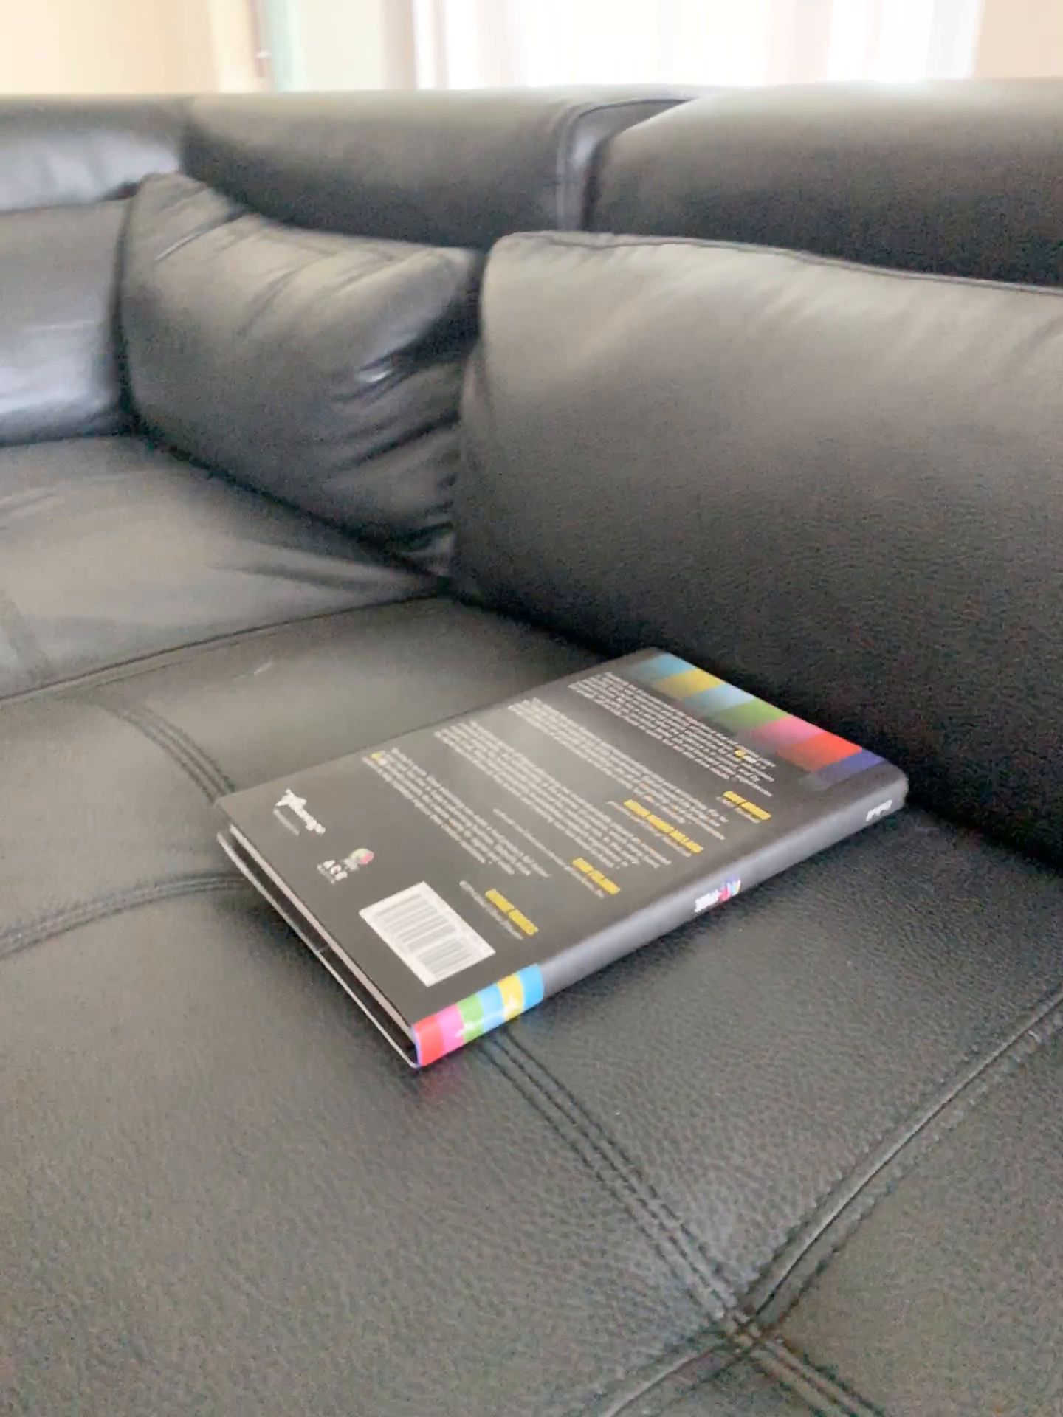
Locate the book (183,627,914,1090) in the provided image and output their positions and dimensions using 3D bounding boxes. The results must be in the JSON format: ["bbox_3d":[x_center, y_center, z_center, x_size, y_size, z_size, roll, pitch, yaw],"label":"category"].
[{"bbox_3d":[0.008,0.036,0.433,0.237,0.030,0.161,-19,32,-31],"label":"book"}]
